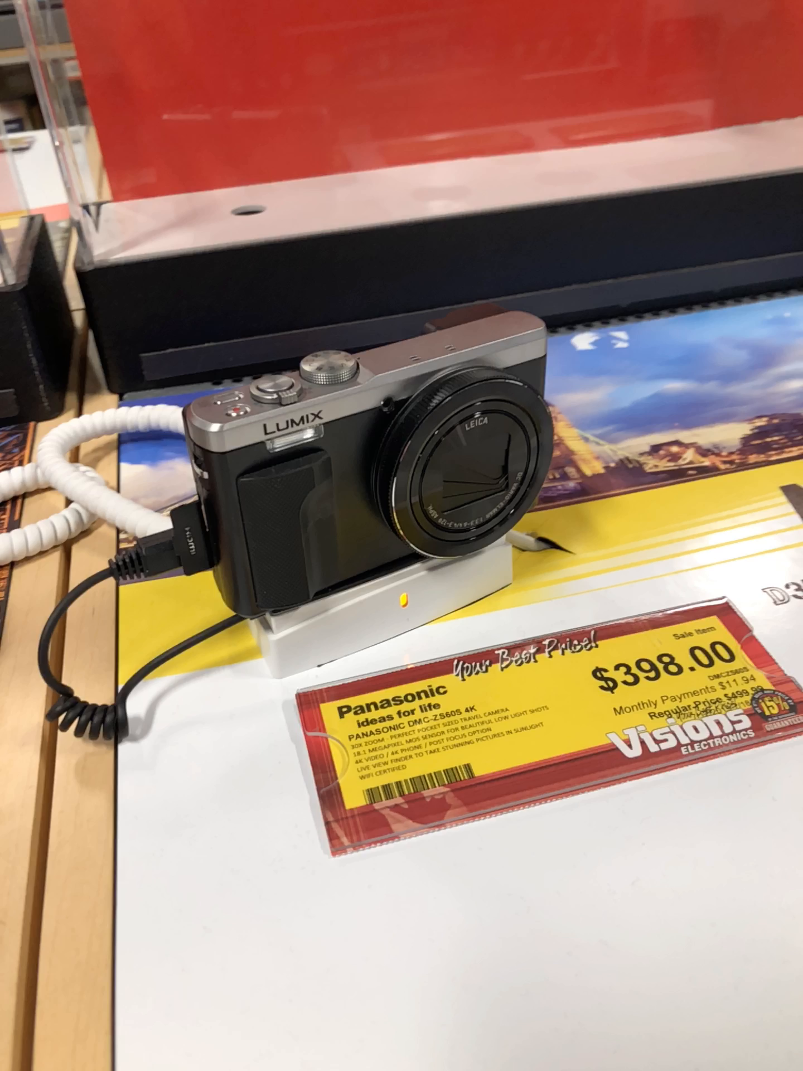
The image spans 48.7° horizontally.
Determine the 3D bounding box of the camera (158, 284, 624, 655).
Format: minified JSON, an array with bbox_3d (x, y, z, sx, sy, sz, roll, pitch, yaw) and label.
[{"bbox_3d":[0.001,-0.023,0.253,0.120,0.060,0.040,-21,38,-22],"label":"camera"}]
